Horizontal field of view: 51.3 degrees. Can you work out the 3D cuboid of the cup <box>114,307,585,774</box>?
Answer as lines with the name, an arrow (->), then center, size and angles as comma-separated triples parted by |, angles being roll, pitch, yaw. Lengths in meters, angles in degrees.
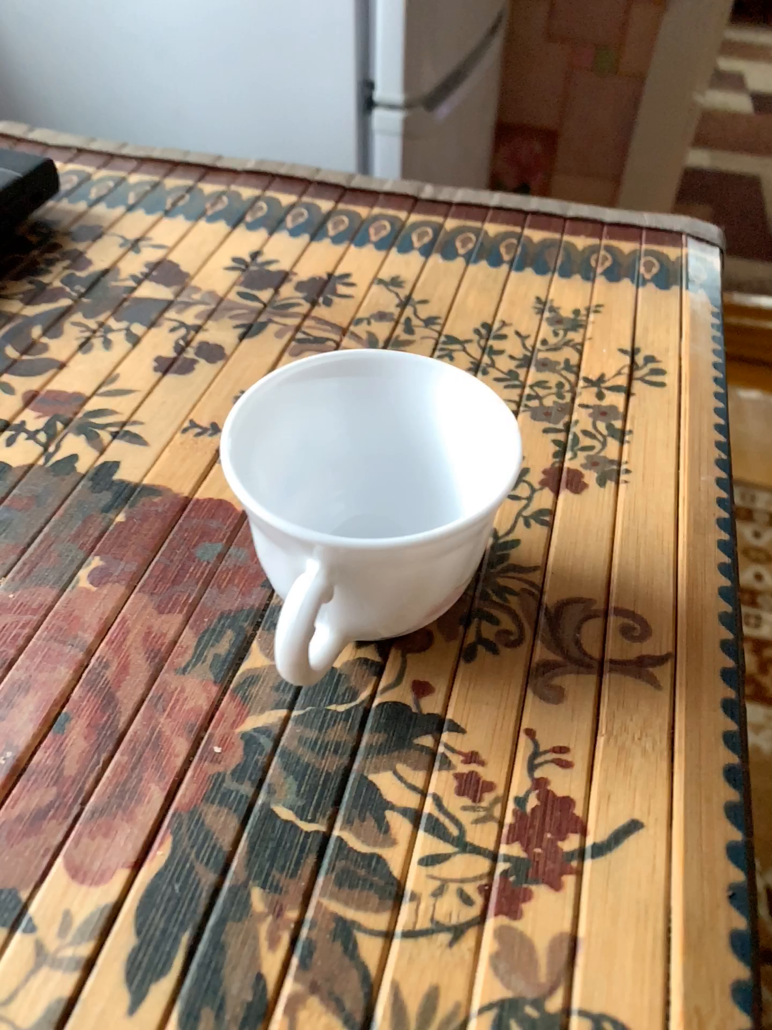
cup -> -0.002, -0.001, 0.173 | 0.067, 0.039, 0.081 | 17, 47, 13
